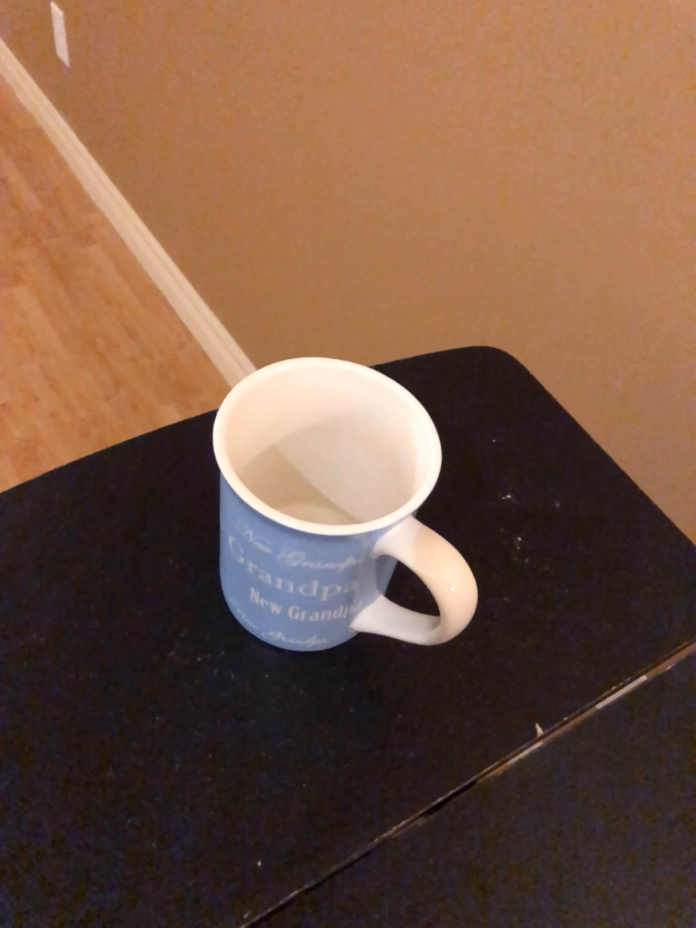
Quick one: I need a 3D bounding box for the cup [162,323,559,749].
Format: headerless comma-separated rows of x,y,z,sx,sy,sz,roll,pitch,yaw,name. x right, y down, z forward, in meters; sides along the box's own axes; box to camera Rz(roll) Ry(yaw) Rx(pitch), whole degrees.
-0.001,0.032,0.357,0.130,0.110,0.100,36,54,18,cup
